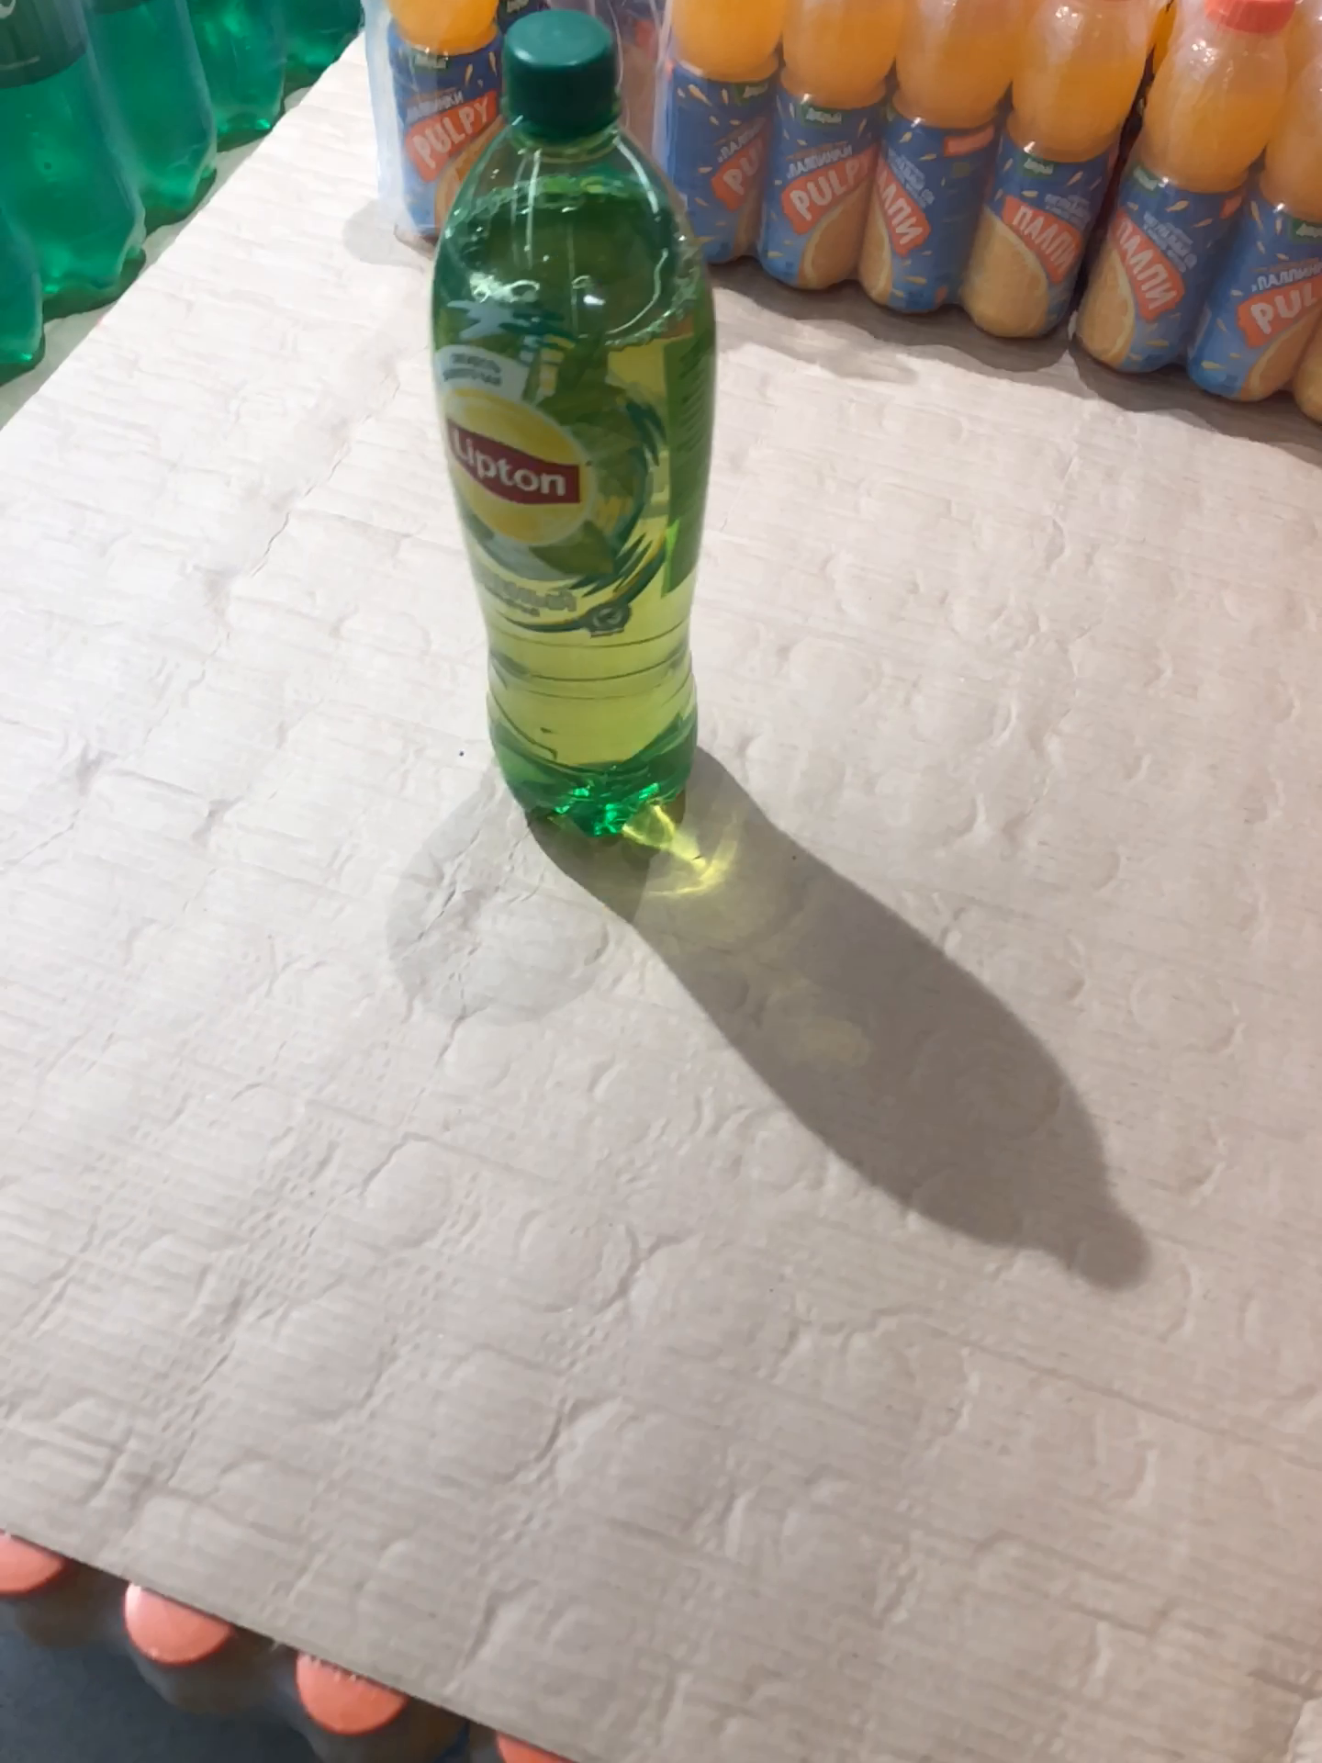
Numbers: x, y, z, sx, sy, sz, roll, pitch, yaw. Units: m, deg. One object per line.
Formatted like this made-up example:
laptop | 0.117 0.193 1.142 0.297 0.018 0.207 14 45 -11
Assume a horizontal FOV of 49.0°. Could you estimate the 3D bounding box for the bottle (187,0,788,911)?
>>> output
bottle | -0.045 -0.132 0.507 0.120 0.289 0.121 1 57 -1
